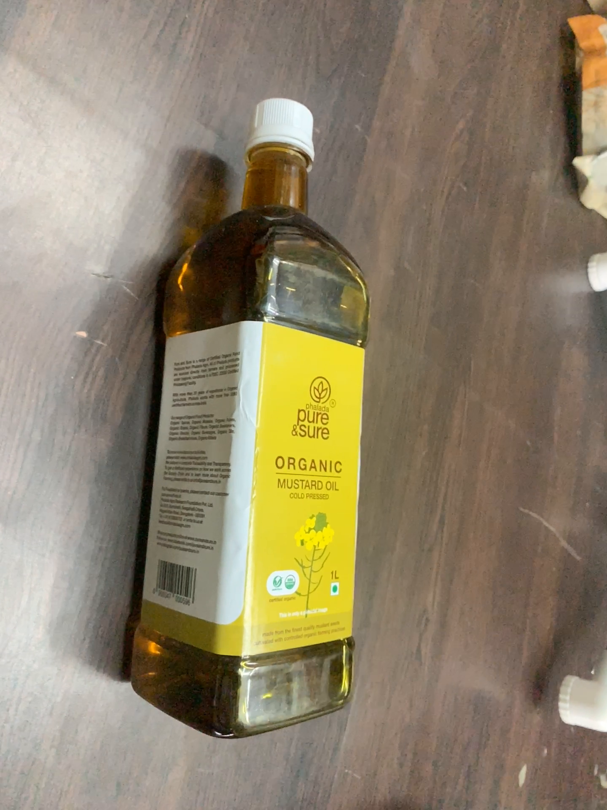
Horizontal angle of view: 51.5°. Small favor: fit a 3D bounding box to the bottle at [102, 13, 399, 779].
[{"bbox_3d":[-0.020,-0.006,0.276,0.080,0.080,0.270,9,81,-42],"label":"bottle"}]
